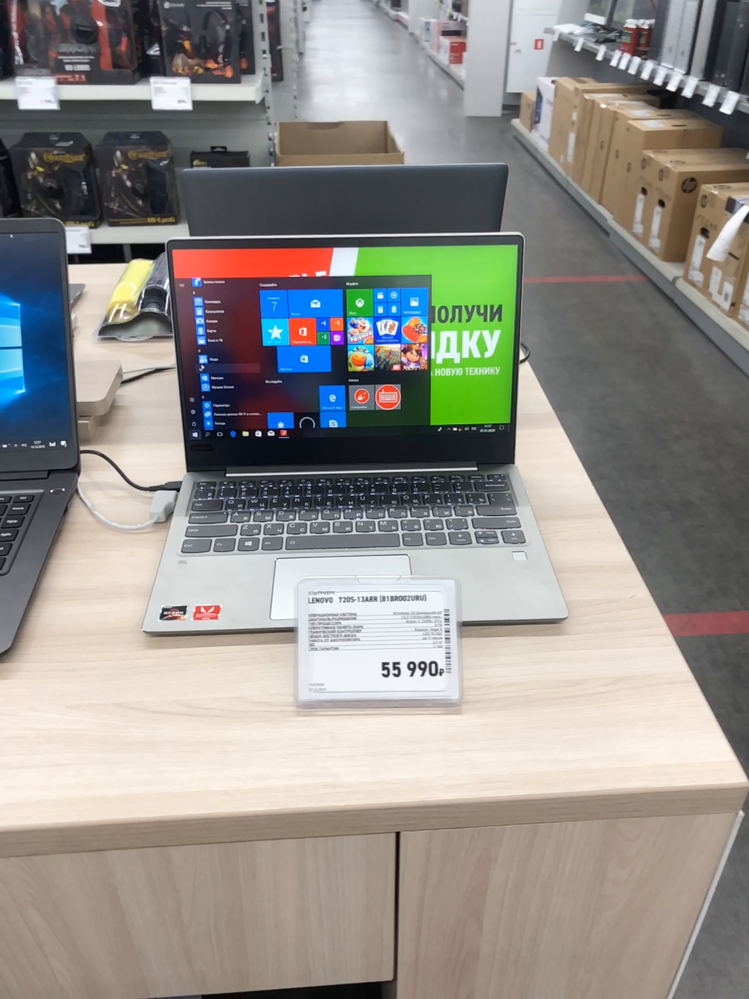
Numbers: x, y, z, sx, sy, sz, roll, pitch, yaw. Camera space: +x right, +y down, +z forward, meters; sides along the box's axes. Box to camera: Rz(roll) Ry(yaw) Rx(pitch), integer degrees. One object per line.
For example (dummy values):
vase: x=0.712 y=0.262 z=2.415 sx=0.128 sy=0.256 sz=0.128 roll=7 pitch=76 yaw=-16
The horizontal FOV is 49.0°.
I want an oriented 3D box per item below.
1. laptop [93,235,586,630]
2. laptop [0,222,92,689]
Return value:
laptop: x=-0.024 y=-0.067 z=0.635 sx=0.285 sy=0.187 sz=0.263 roll=-2 pitch=34 yaw=-2
laptop: x=-0.442 y=-0.063 z=0.626 sx=0.344 sy=0.188 sz=0.341 roll=-3 pitch=34 yaw=-4
